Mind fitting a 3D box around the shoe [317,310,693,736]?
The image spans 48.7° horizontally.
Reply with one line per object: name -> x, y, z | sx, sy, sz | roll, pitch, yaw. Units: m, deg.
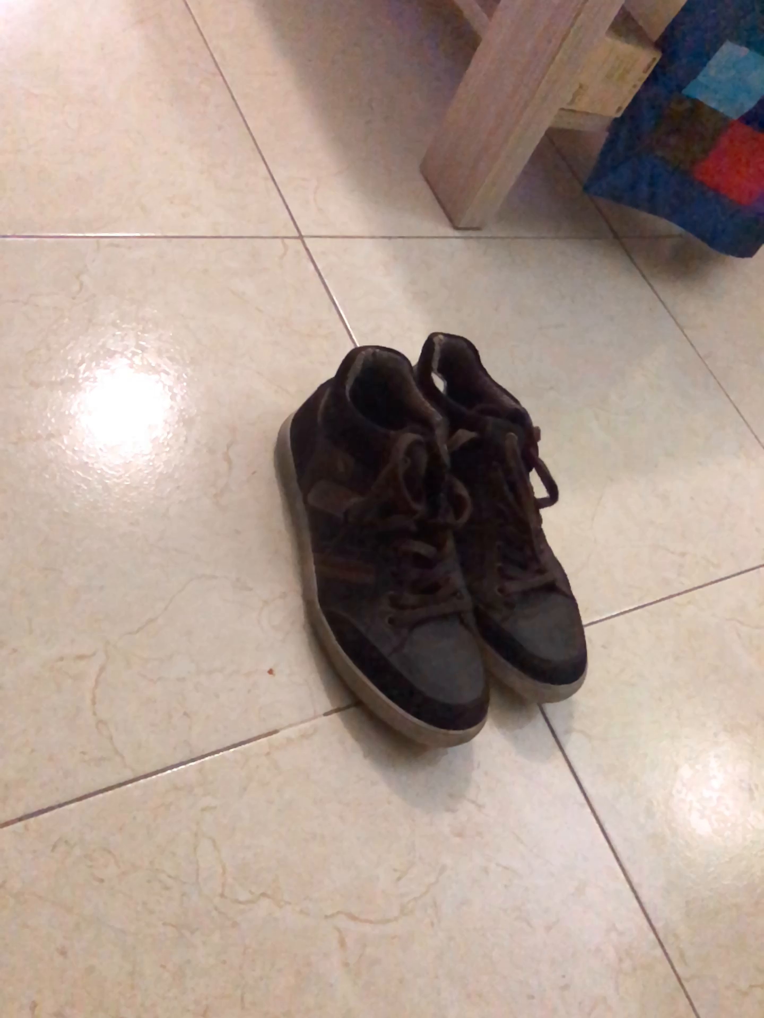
shoe -> 0.083, 0.000, 0.660 | 0.120, 0.110, 0.300 | -16, 66, -33

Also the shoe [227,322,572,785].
shoe -> -0.003, 0.019, 0.602 | 0.120, 0.110, 0.300 | -6, 61, -29
